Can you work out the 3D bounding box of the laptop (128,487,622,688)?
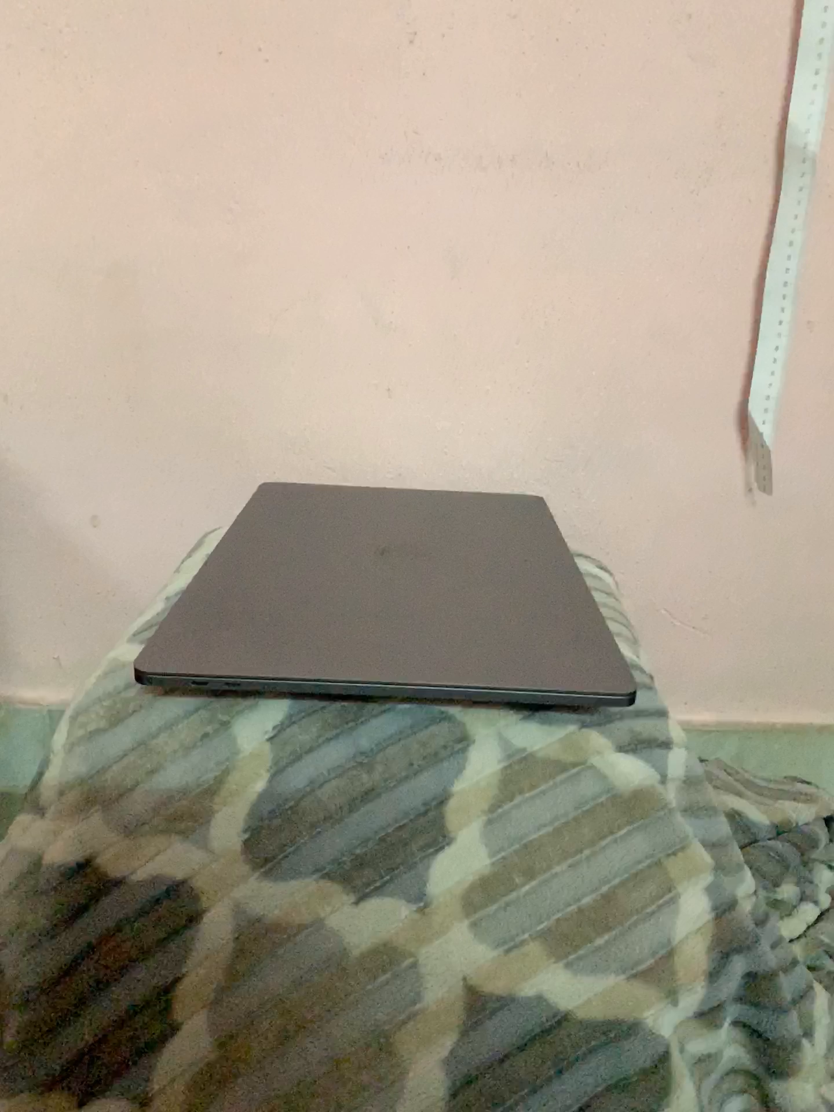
[{"bbox_3d":[-0.020,0.002,0.547,0.228,0.002,0.327,1,20,0],"label":"laptop"}]
